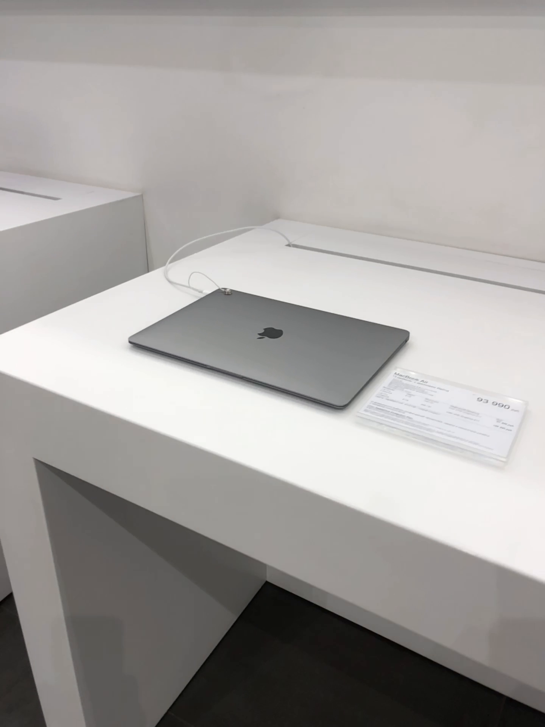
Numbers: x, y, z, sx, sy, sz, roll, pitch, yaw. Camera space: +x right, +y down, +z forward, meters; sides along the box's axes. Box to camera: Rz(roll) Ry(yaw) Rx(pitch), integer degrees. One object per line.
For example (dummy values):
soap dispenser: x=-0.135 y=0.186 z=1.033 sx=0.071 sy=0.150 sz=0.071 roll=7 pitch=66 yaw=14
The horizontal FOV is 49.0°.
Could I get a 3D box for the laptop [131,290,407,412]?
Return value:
laptop: x=-0.002 y=-0.031 z=0.768 sx=0.292 sy=0.006 sz=0.205 roll=16 pitch=33 yaw=27
